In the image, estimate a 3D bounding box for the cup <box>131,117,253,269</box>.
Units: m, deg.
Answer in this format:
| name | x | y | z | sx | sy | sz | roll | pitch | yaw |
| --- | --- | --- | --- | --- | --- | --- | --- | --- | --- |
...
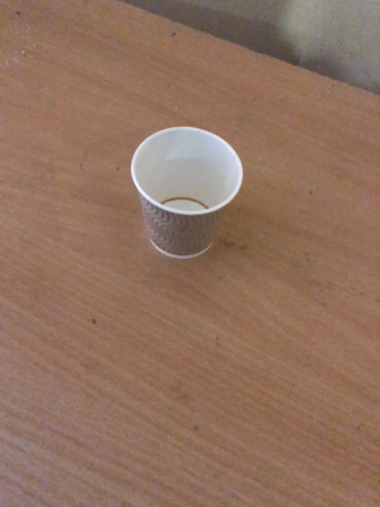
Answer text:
| name | x | y | z | sx | sy | sz | roll | pitch | yaw |
| --- | --- | --- | --- | --- | --- | --- | --- | --- | --- |
| cup | -0.002 | -0.040 | 0.282 | 0.067 | 0.064 | 0.074 | -5 | 59 | -5 |
